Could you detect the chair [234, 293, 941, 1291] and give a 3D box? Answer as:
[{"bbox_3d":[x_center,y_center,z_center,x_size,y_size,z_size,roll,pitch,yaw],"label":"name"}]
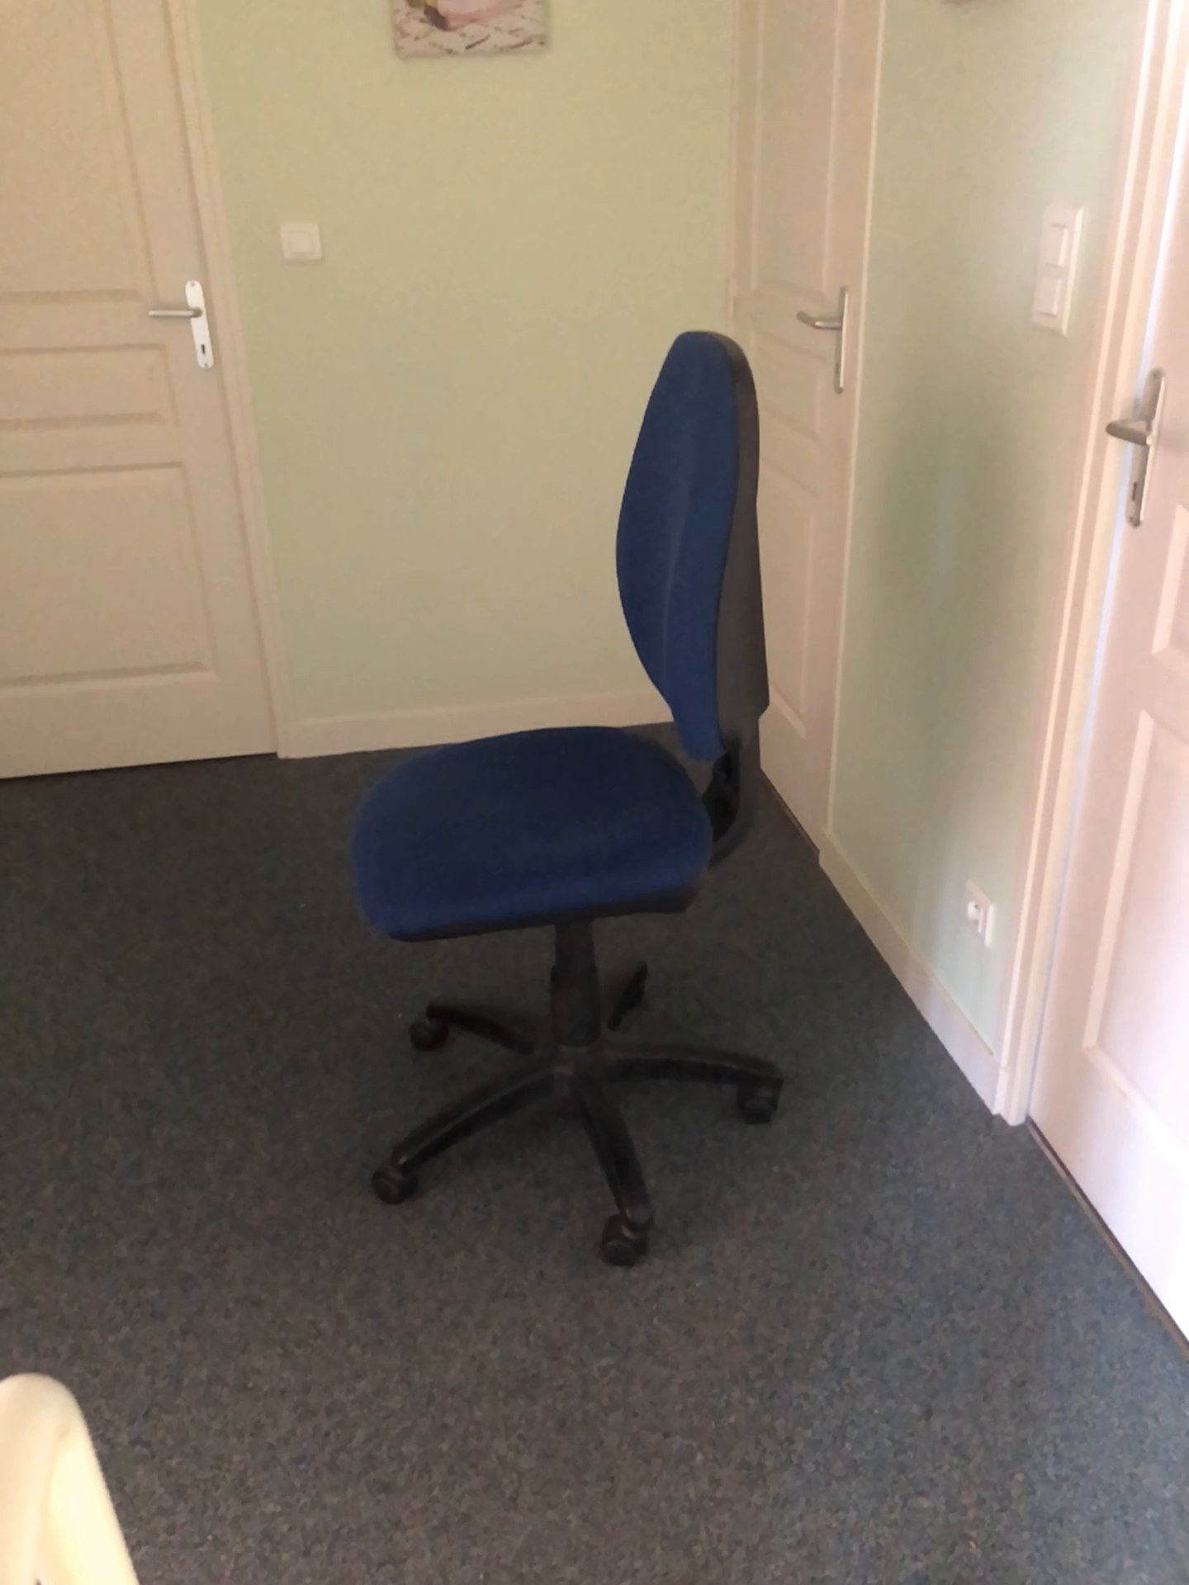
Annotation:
[{"bbox_3d":[-0.034,-0.044,1.771,0.670,1.114,0.703,-5,26,-7],"label":"chair"}]
